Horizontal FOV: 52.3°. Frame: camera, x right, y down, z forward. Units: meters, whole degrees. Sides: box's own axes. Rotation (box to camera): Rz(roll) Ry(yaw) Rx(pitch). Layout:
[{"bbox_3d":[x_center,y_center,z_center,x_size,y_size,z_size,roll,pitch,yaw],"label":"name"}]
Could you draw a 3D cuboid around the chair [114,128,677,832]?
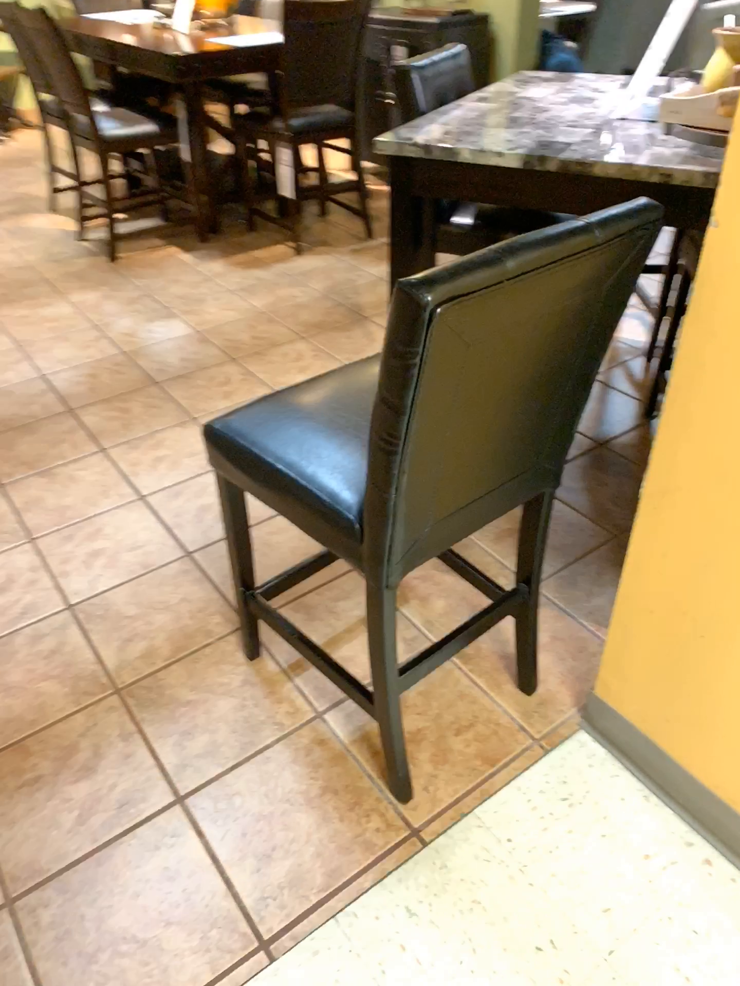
[{"bbox_3d":[0.019,-0.040,1.333,0.499,0.960,0.621,-27,44,-30],"label":"chair"}]
